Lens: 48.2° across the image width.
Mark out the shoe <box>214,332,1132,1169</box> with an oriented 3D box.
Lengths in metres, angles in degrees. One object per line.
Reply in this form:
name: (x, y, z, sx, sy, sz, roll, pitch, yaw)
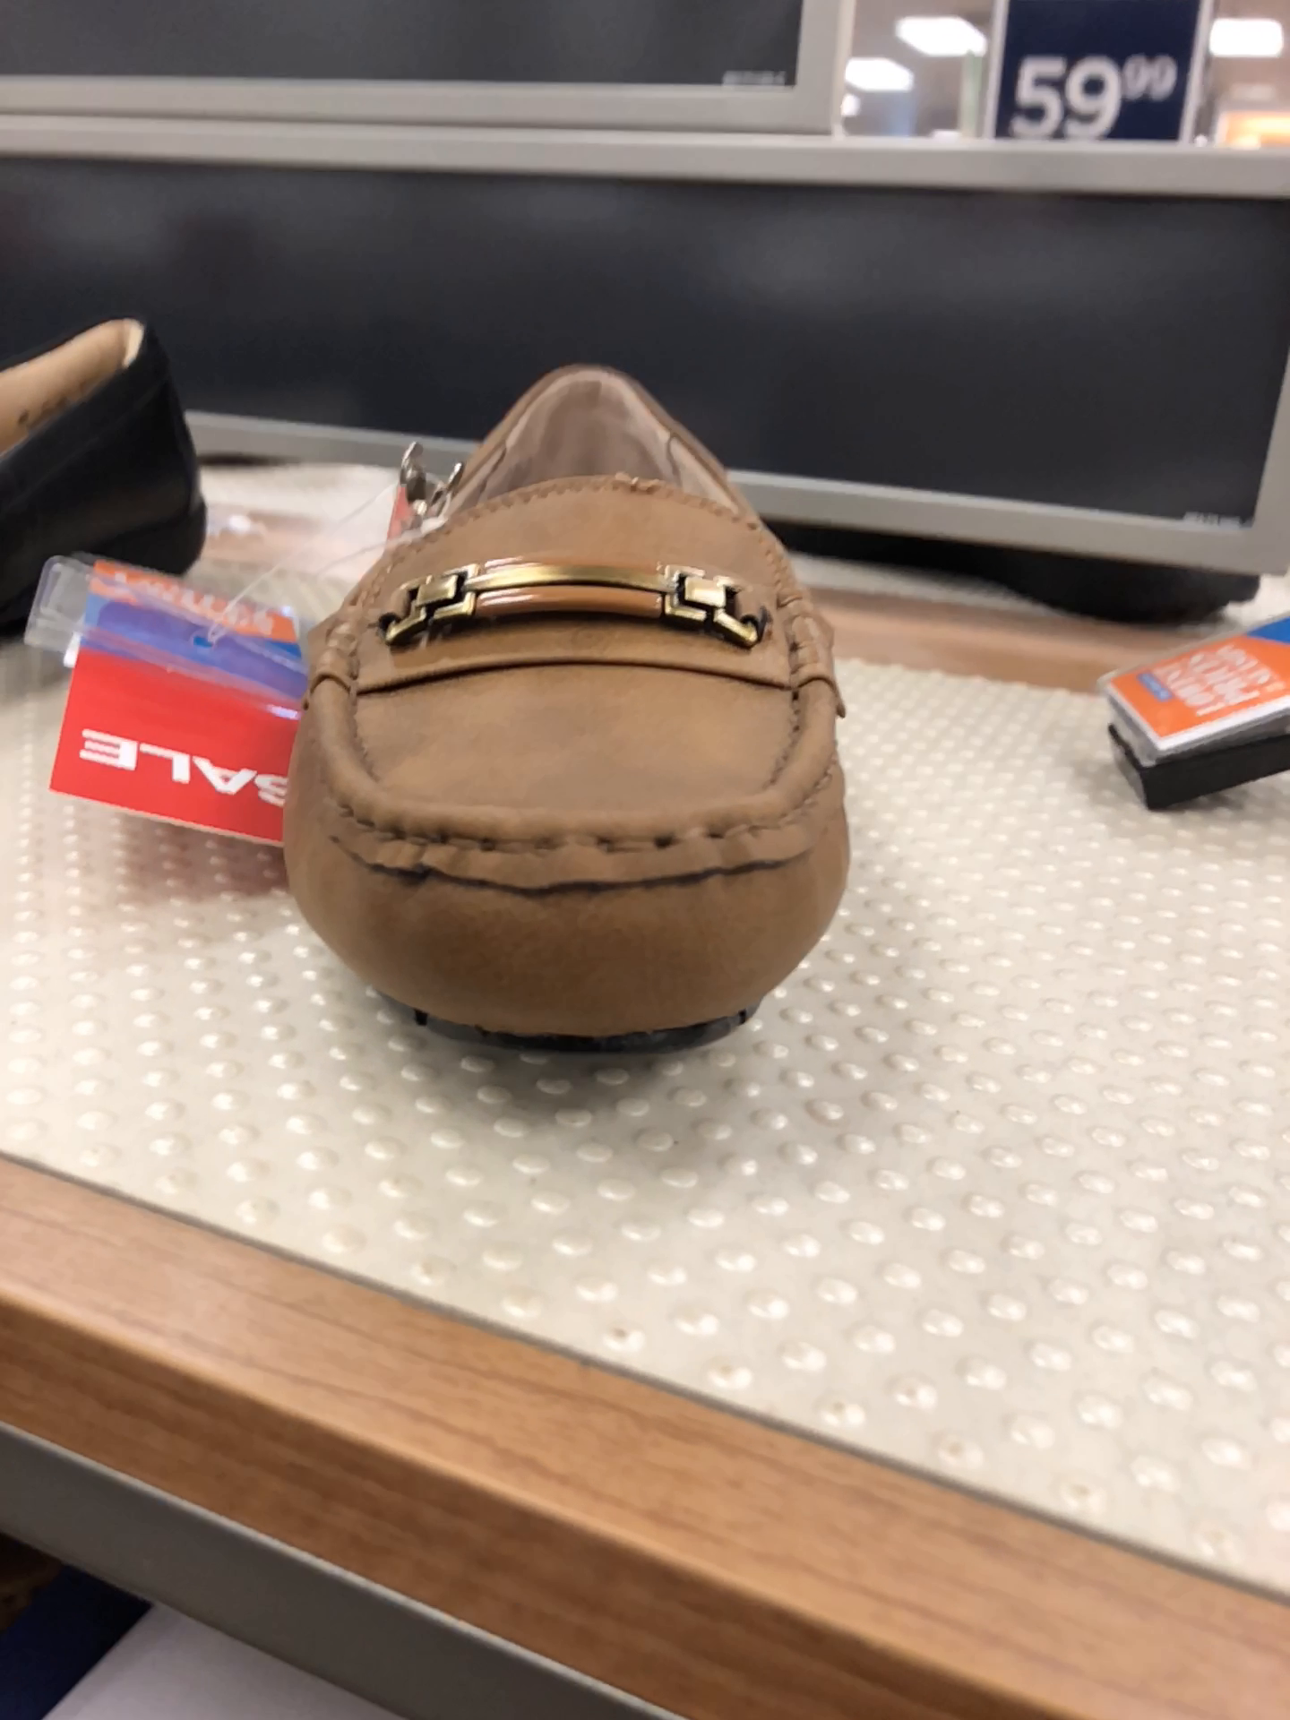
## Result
shoe: (-0.009, -0.046, 0.259, 0.087, 0.079, 0.236, 1, 22, -6)
